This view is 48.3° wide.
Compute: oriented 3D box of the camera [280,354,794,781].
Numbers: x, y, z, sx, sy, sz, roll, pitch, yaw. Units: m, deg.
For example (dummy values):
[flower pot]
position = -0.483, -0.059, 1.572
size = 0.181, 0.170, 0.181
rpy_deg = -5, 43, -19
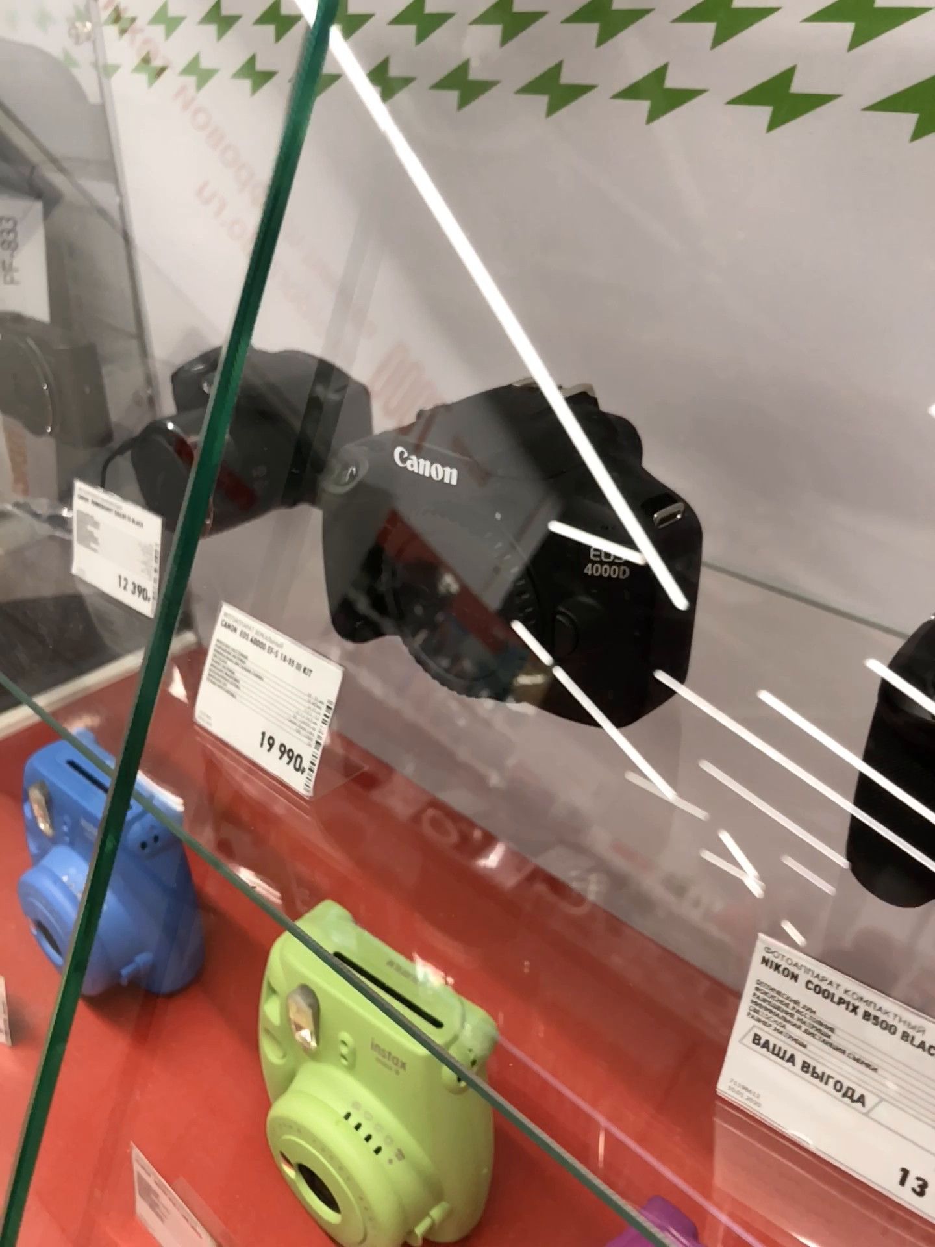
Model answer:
[camera]
position = 0.021, -0.030, 0.362
size = 0.136, 0.083, 0.100
rpy_deg = 24, 38, 36
